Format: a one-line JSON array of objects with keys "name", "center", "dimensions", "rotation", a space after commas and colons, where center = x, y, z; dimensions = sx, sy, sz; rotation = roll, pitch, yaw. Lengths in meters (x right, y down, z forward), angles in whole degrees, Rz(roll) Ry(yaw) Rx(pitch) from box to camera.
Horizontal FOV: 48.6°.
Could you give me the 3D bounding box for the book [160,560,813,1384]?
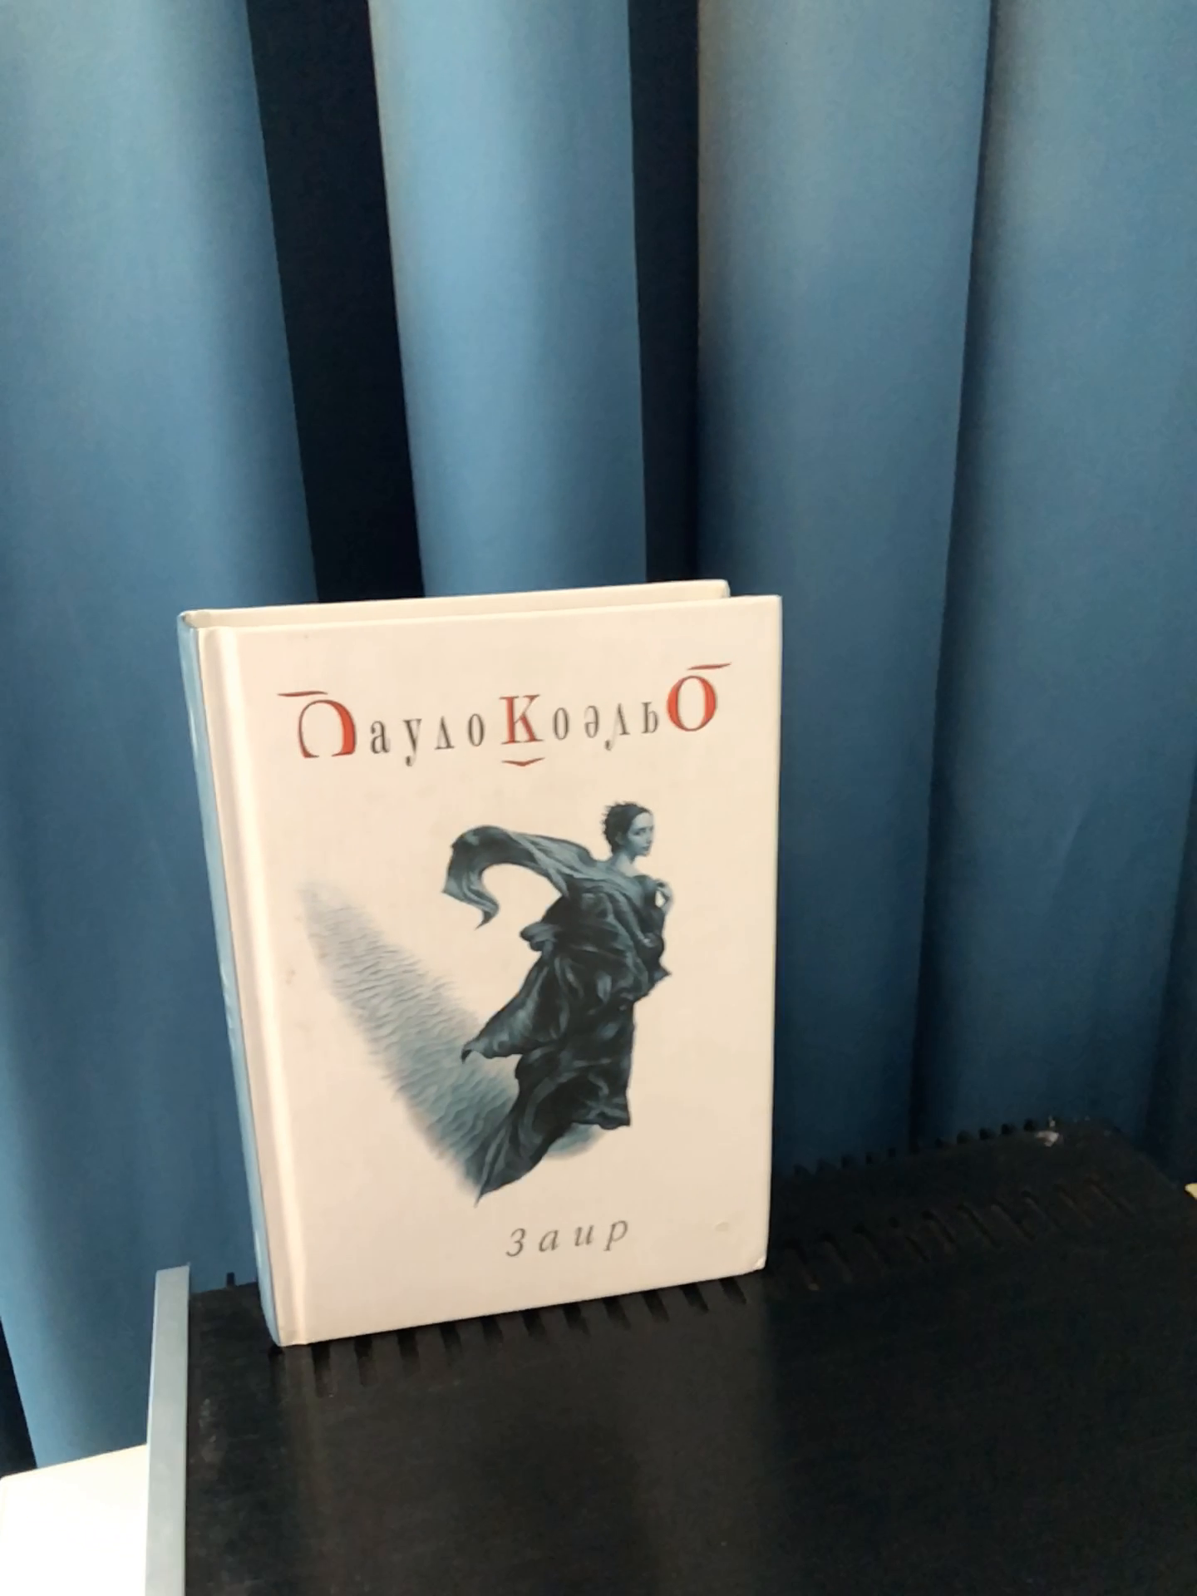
[{"name": "book", "center": [-0.019, 0.041, 0.306], "dimensions": [0.130, 0.179, 0.030], "rotation": [-5, 19, -10]}]
